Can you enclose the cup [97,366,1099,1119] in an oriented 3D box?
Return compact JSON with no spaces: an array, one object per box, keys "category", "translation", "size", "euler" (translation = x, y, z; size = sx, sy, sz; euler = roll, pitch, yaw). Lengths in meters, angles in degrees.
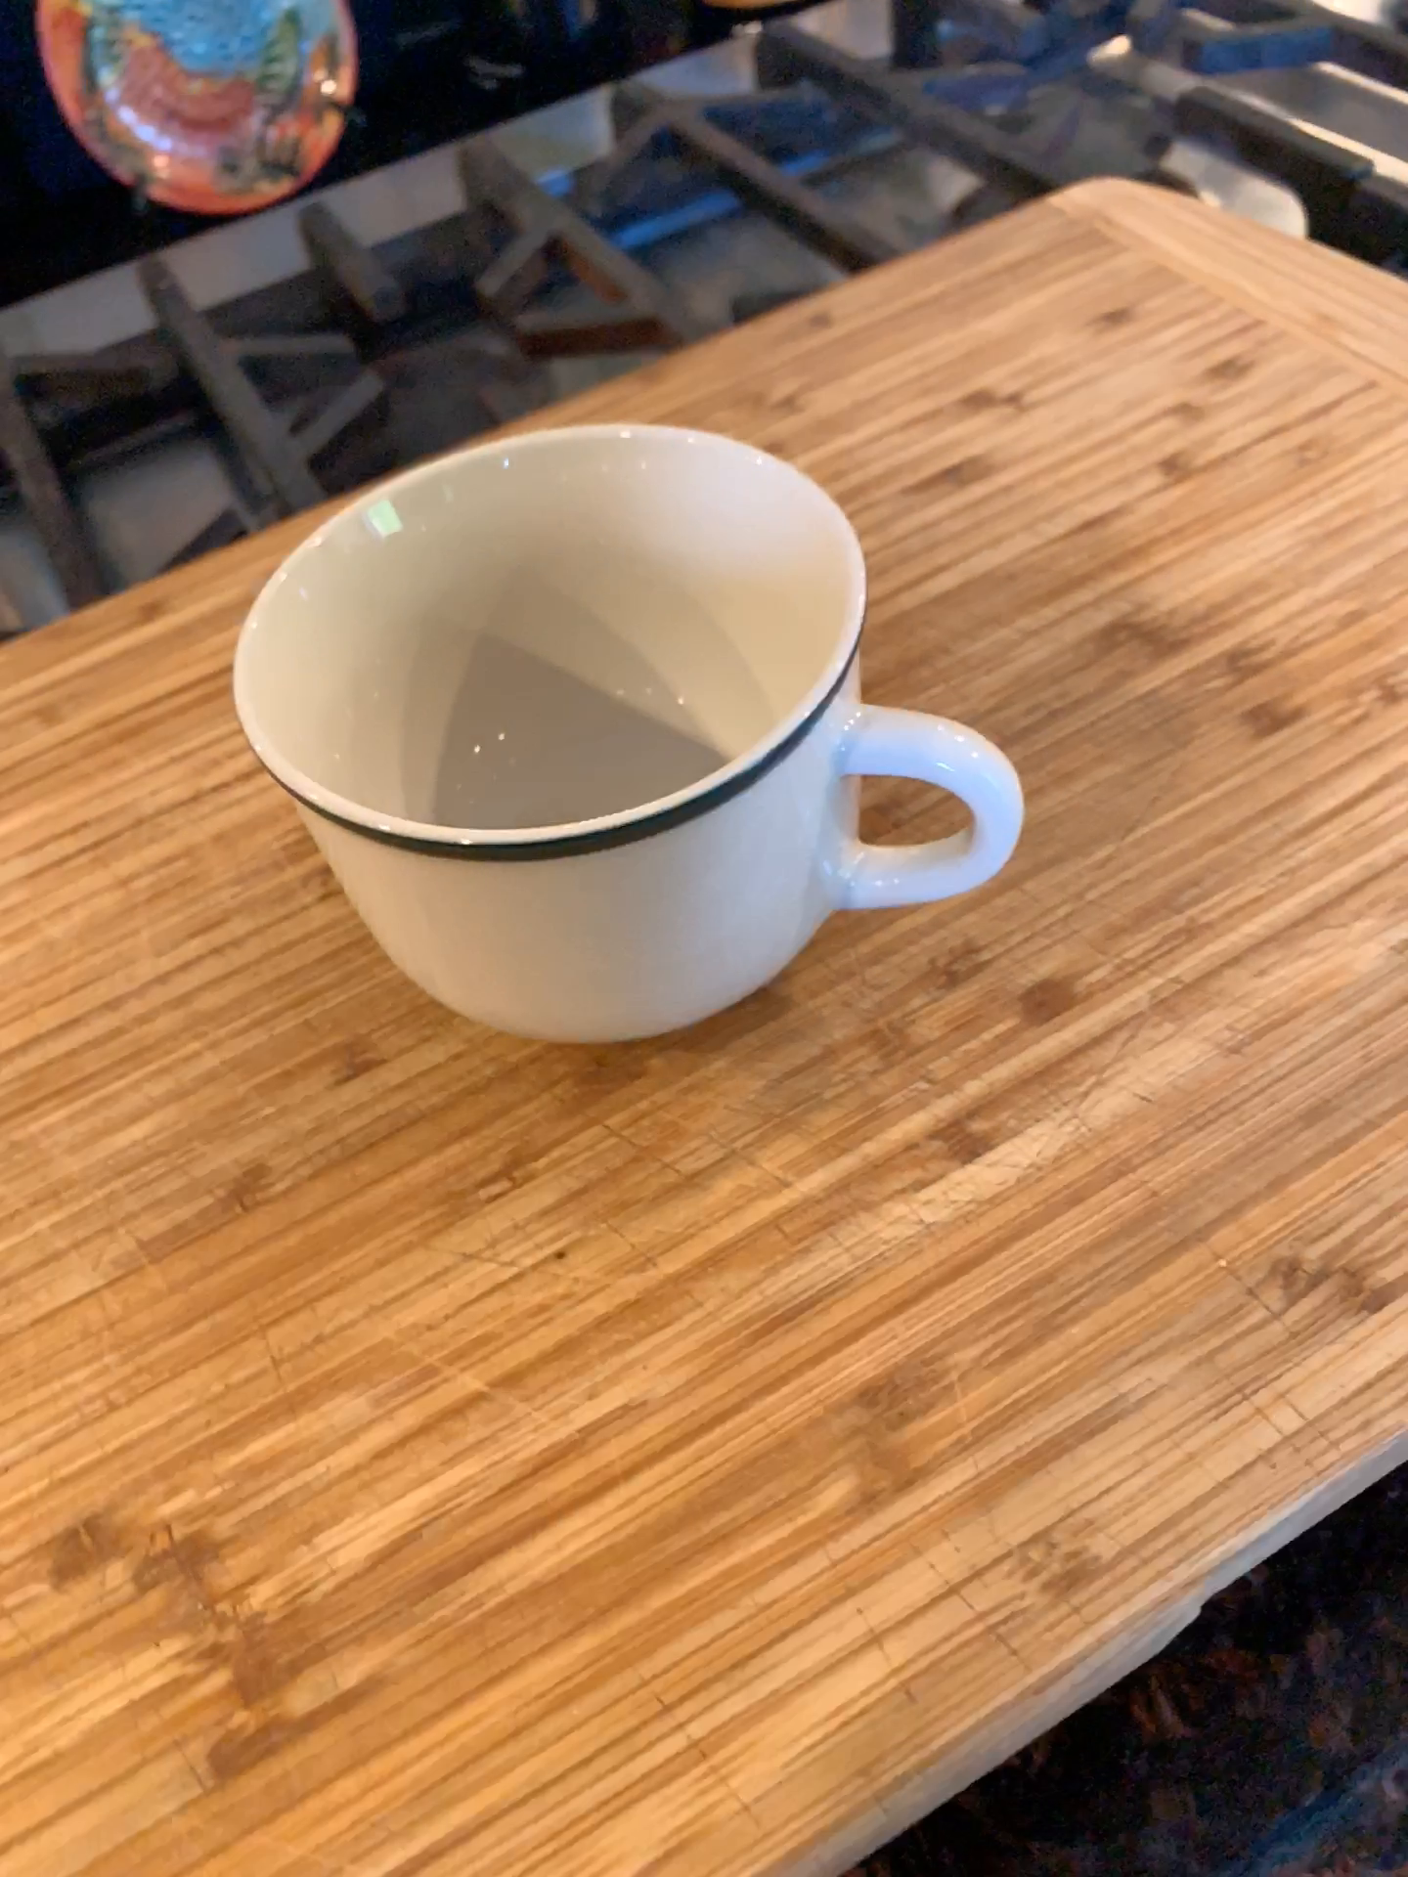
[{"category":"cup","translation":[-0.007,-0.035,0.229],"size":[0.120,0.060,0.090],"euler":[7,53,16]}]
